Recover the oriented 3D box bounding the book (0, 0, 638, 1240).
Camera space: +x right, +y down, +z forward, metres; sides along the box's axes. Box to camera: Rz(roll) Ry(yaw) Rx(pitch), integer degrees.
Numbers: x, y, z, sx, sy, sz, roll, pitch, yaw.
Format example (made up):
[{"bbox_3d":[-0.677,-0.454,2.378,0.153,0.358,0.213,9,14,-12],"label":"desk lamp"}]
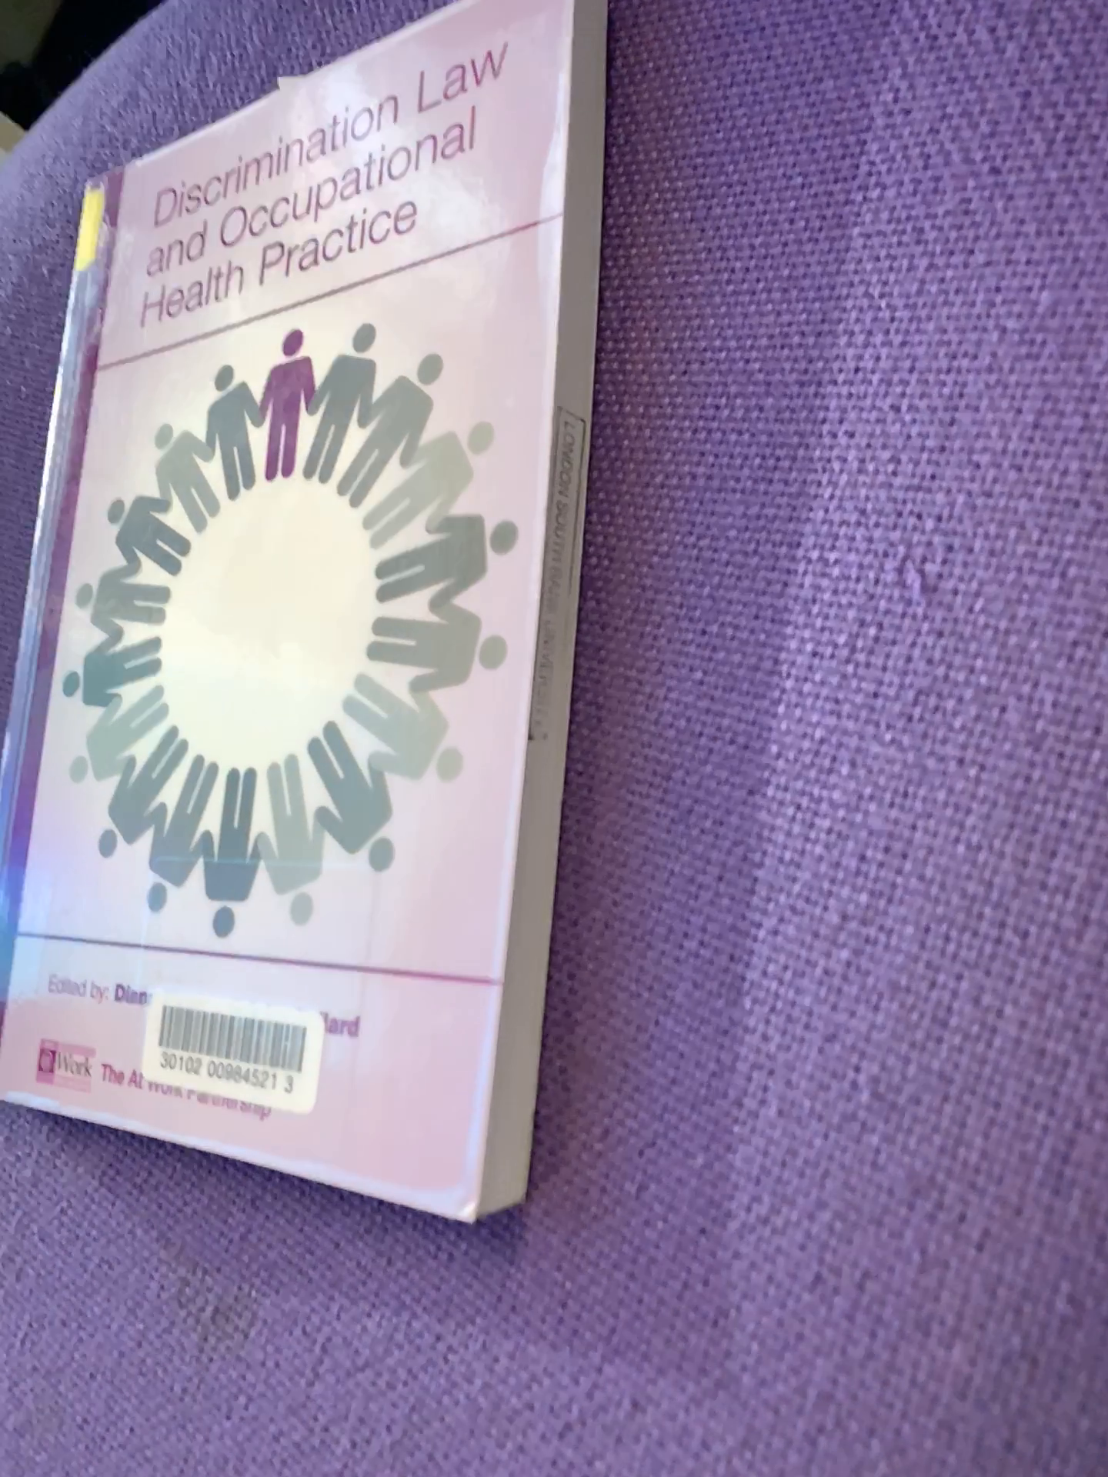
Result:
[{"bbox_3d":[-0.063,-0.034,0.248,0.158,0.022,0.235,-3,77,33],"label":"book"}]
